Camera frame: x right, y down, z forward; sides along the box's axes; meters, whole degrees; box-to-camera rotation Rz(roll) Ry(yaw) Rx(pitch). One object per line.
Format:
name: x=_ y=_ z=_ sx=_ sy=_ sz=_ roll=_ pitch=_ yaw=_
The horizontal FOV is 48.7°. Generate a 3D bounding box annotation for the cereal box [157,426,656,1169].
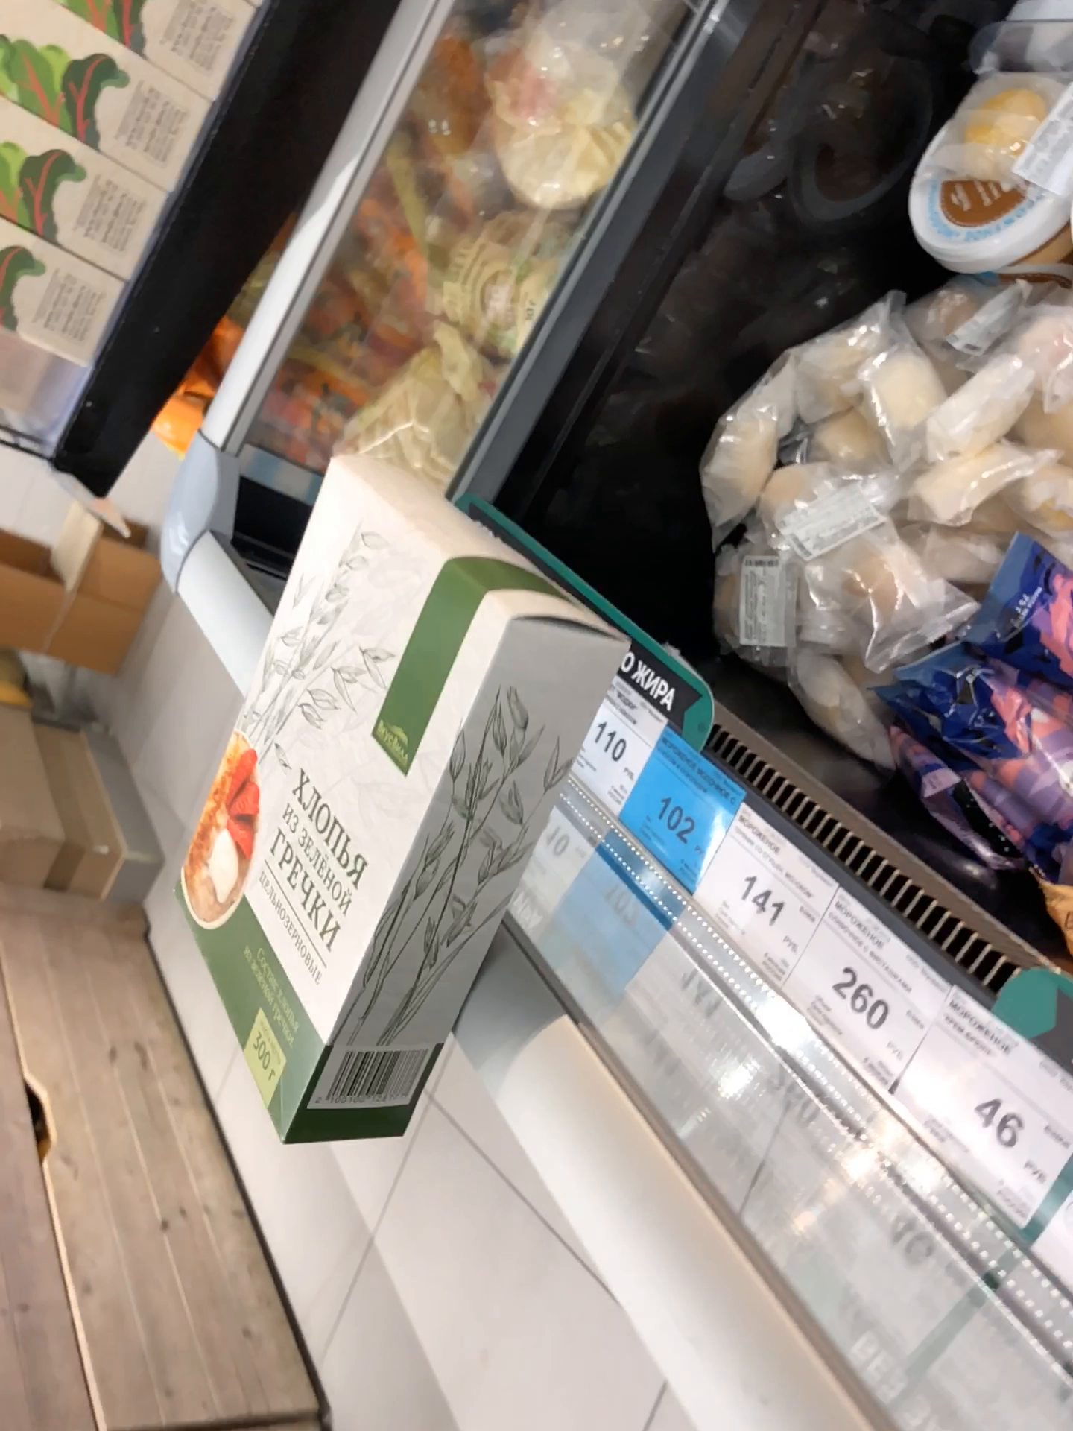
cereal box: x=-0.061 y=0.024 z=0.413 sx=0.151 sy=0.050 sz=0.200 roll=46 pitch=119 yaw=46
